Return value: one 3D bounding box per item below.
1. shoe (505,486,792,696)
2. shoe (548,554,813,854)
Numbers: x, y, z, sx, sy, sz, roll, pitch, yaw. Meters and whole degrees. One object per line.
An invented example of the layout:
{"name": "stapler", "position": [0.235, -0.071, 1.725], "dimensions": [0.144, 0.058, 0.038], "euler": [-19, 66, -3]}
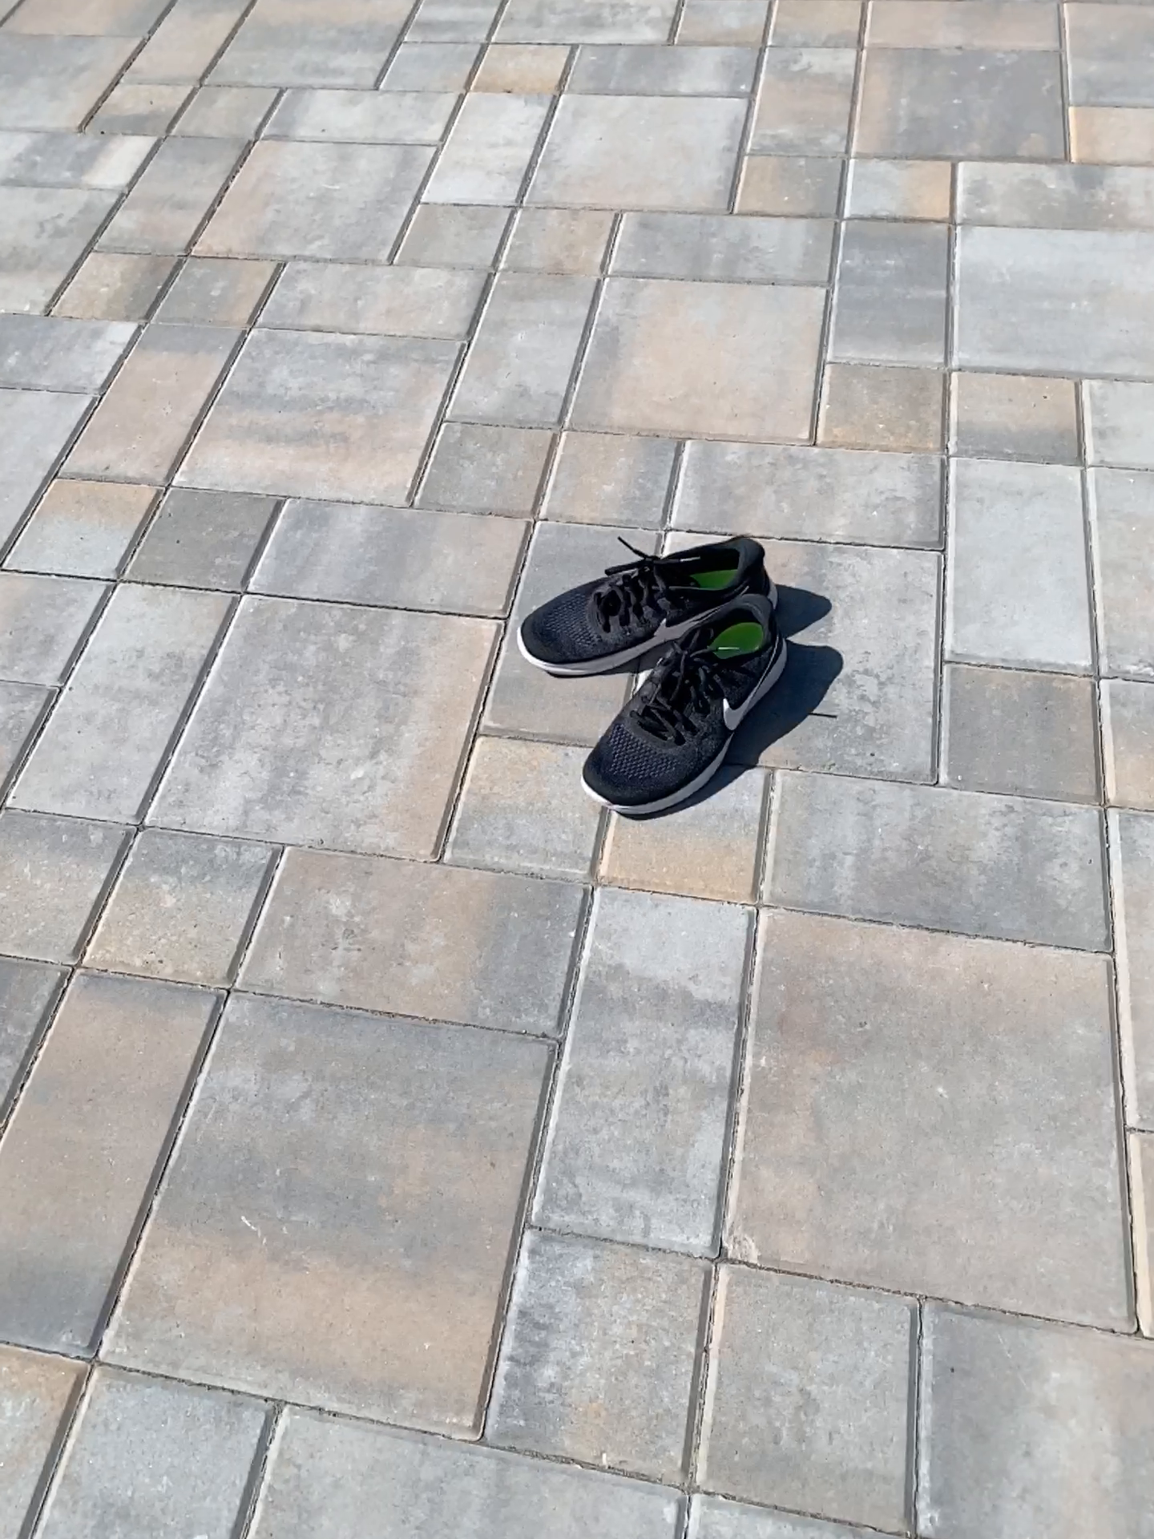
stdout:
{"name": "shoe", "position": [0.068, -0.175, 1.156], "dimensions": [0.250, 0.100, 0.110], "euler": [-15, 56, -5]}
{"name": "shoe", "position": [0.099, -0.064, 1.100], "dimensions": [0.110, 0.110, 0.250], "euler": [32, 65, 23]}
